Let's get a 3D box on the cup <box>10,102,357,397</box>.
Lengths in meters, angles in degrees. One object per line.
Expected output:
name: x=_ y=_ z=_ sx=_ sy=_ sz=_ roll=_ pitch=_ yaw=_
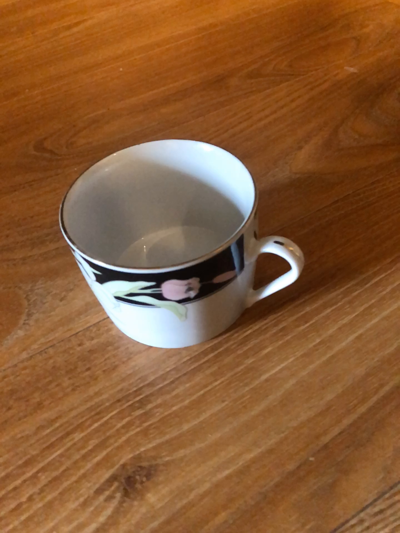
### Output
cup: x=-0.002 y=-0.015 z=0.200 sx=0.110 sy=0.060 sz=0.090 roll=18 pitch=54 yaw=21
